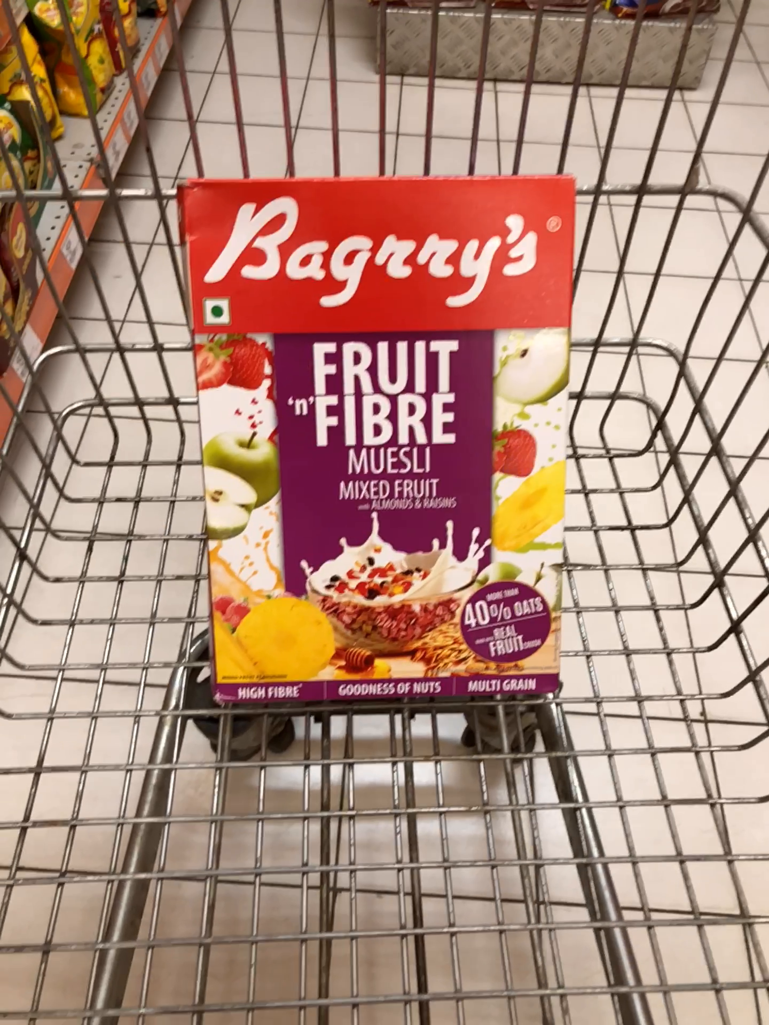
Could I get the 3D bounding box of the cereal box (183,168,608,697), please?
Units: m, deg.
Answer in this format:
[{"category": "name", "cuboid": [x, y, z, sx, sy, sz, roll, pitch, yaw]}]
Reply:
[{"category": "cereal box", "cuboid": [0.006, -0.039, 0.438, 0.190, 0.249, 0.070, -1, 12, -2]}]
